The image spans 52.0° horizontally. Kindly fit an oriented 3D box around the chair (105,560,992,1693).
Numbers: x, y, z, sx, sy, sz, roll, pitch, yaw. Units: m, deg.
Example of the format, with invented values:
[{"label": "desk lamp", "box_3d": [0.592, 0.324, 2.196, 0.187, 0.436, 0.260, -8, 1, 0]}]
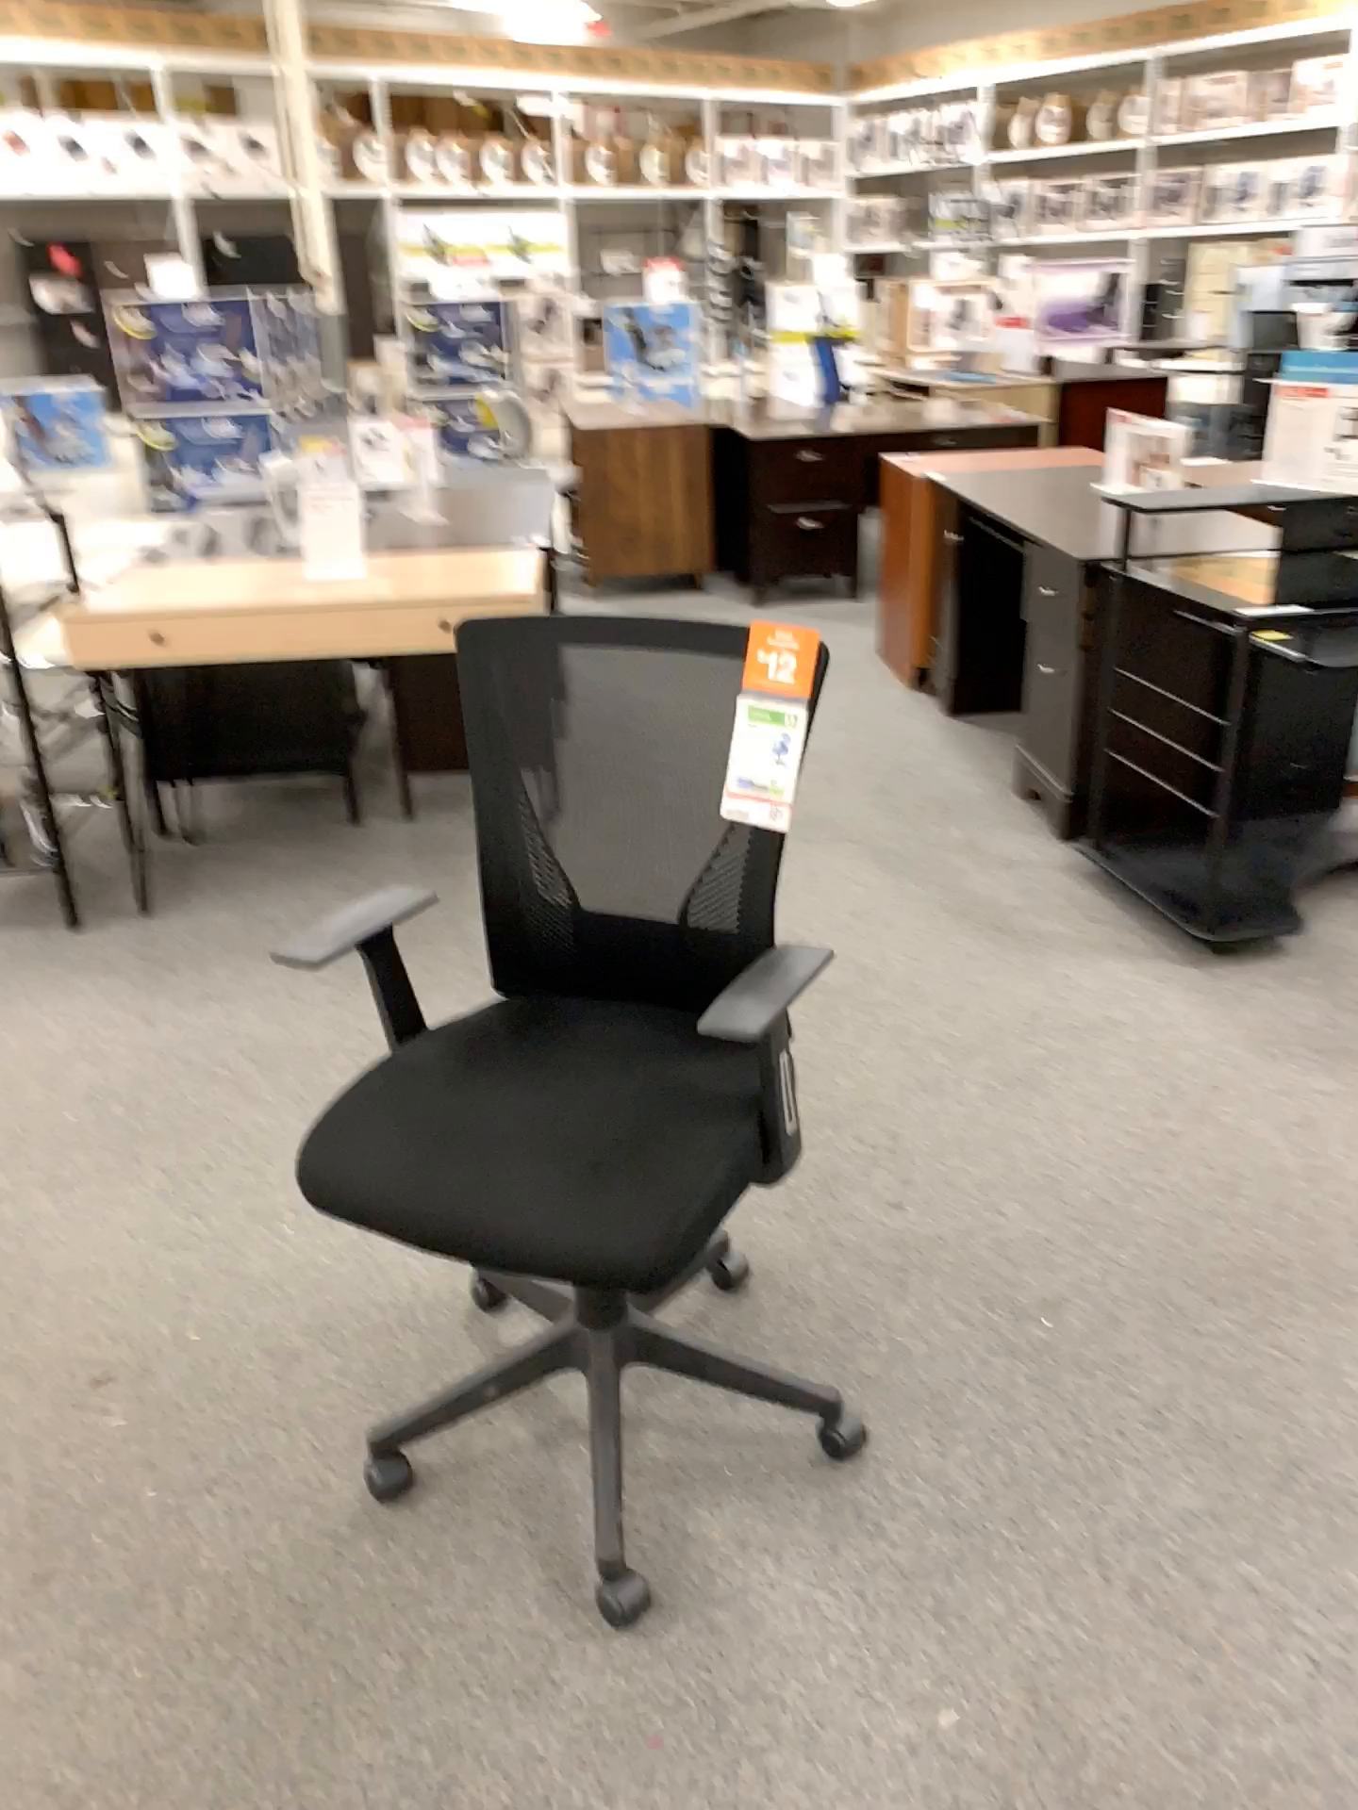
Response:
[{"label": "chair", "box_3d": [-0.085, 0.176, 1.639, 0.671, 0.995, 0.642, 11, 28, 28]}]
